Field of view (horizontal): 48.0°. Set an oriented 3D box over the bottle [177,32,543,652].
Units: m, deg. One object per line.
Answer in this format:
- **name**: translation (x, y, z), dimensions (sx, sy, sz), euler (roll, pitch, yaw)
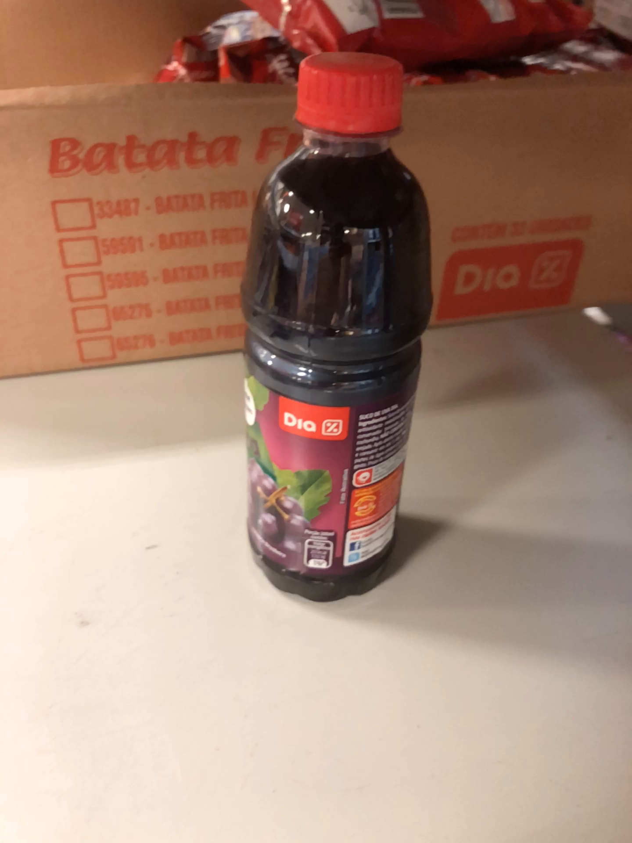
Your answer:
- **bottle**: translation (0.009, -0.021, 0.259), dimensions (0.070, 0.198, 0.080), euler (-20, 42, -23)
